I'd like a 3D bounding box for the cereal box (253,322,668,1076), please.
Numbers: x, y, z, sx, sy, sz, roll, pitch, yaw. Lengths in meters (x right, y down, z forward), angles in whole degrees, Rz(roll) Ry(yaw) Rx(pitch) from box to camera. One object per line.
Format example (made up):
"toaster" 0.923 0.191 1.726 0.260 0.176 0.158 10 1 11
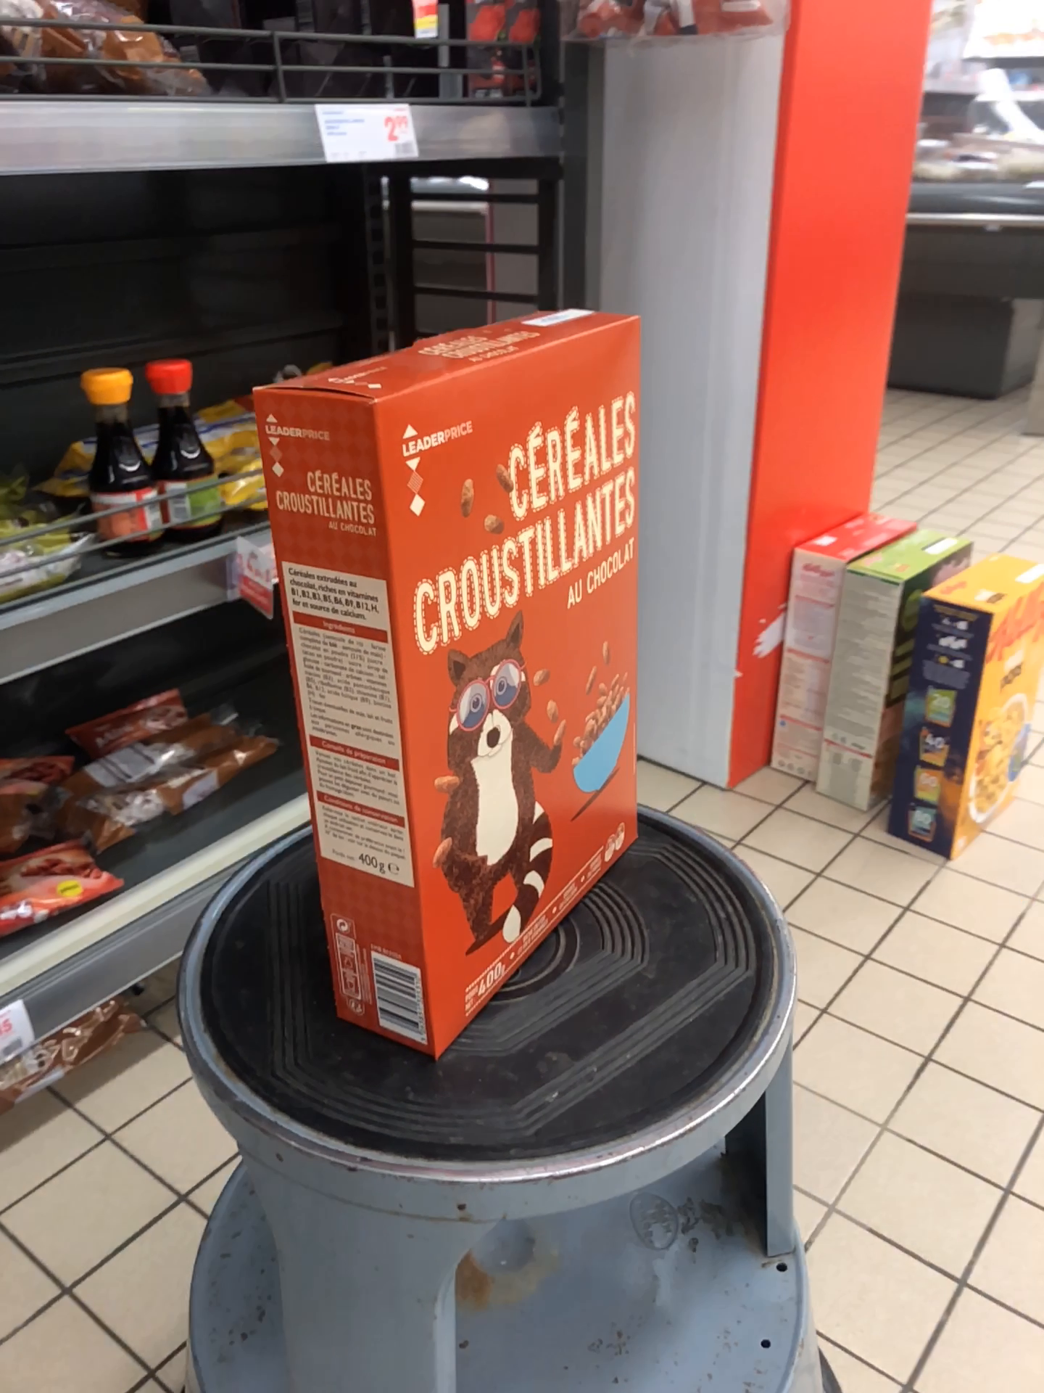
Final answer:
"cereal box" -0.010 -0.010 0.486 0.060 0.259 0.191 13 29 28
